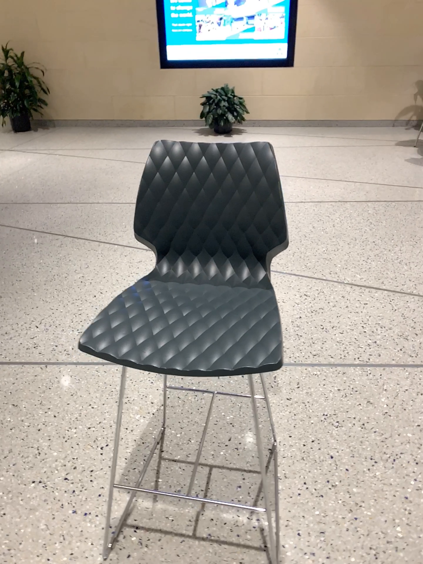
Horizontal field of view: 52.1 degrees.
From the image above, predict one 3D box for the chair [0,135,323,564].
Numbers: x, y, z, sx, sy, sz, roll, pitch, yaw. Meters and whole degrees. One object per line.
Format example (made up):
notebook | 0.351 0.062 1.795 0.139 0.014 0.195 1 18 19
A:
chair | -0.042 0.196 1.114 0.534 0.996 0.535 5 29 11
